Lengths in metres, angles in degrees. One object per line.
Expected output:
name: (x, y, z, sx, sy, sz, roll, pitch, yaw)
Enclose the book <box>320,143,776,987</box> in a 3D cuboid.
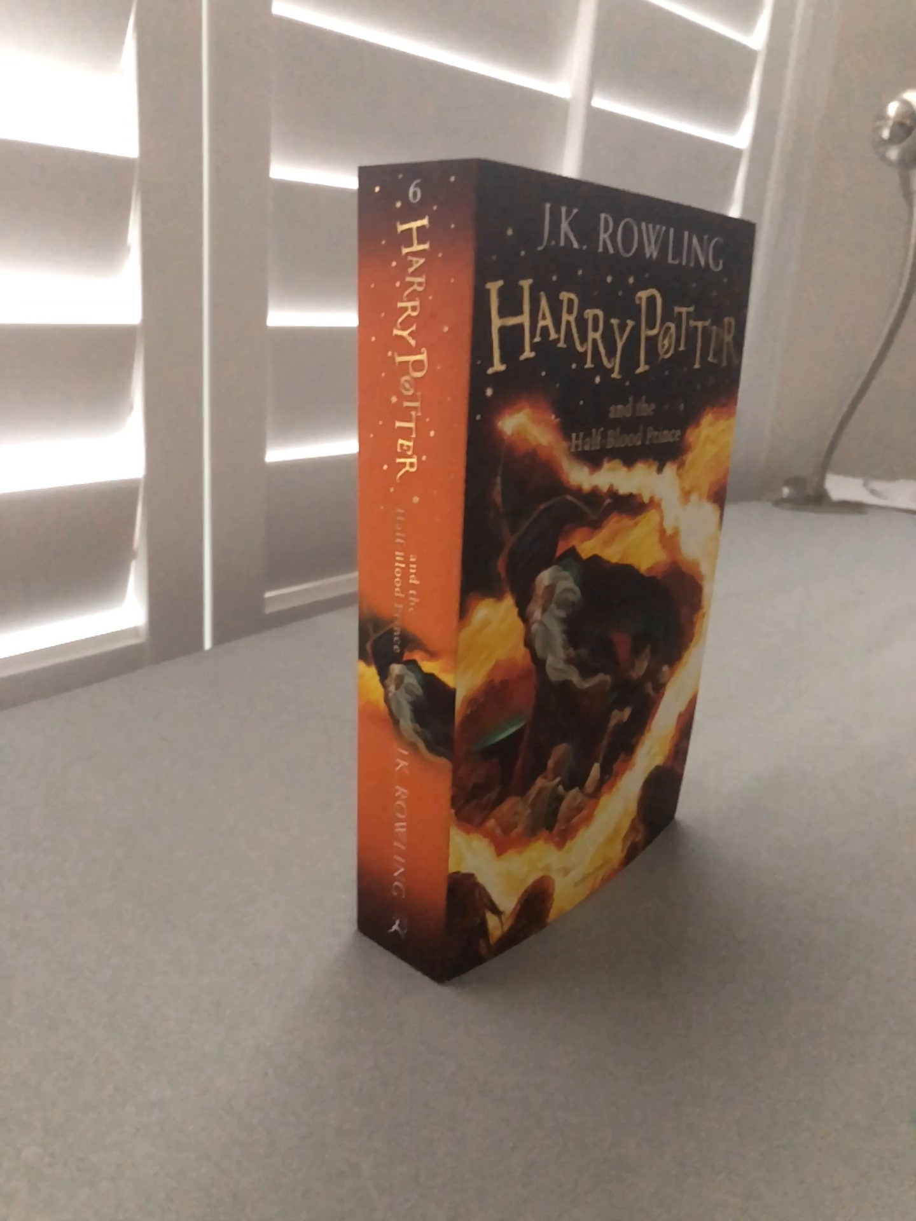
book: (0.030, -0.018, 0.295, 0.047, 0.194, 0.142, 14, 20, 38)
